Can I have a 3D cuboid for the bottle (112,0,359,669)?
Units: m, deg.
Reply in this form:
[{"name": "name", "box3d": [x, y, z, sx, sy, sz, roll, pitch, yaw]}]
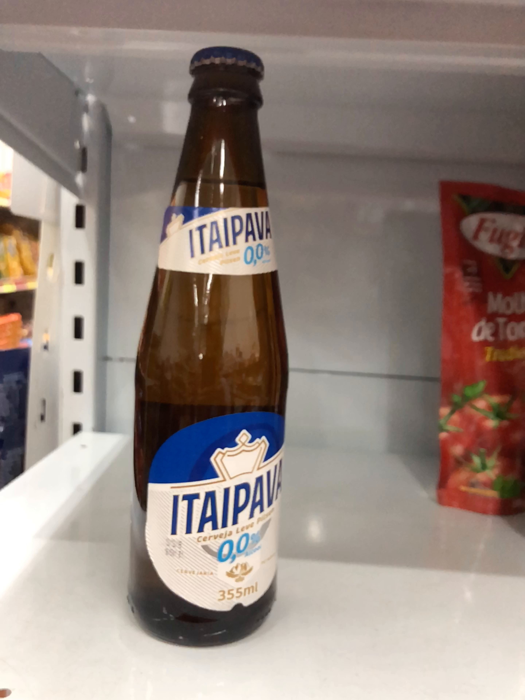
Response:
[{"name": "bottle", "box3d": [-0.016, -0.009, 0.211, 0.060, 0.209, 0.060, 3, 8, 0]}]
